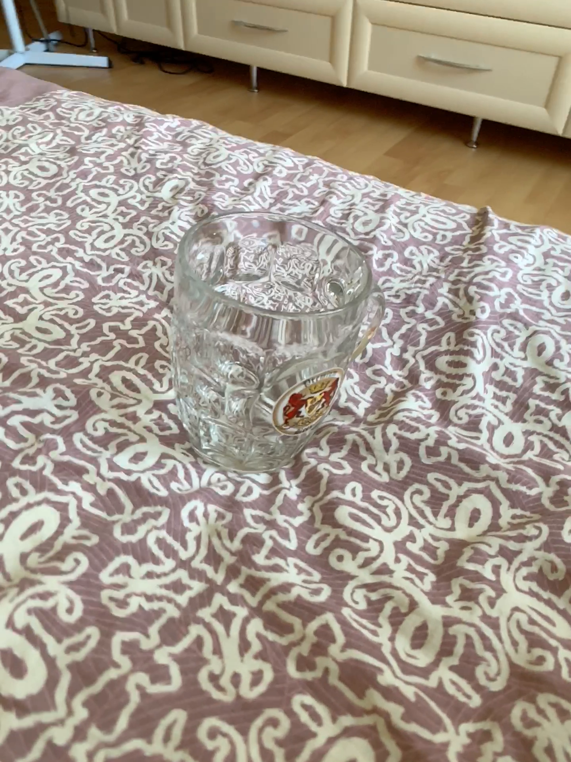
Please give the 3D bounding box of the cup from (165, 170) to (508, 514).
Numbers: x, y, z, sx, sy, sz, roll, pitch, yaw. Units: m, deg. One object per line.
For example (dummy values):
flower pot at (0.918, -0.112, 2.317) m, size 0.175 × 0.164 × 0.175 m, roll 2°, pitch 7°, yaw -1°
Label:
cup at (0.016, -0.023, 0.291) m, size 0.120 × 0.109 × 0.091 m, roll -21°, pitch 53°, yaw -28°
